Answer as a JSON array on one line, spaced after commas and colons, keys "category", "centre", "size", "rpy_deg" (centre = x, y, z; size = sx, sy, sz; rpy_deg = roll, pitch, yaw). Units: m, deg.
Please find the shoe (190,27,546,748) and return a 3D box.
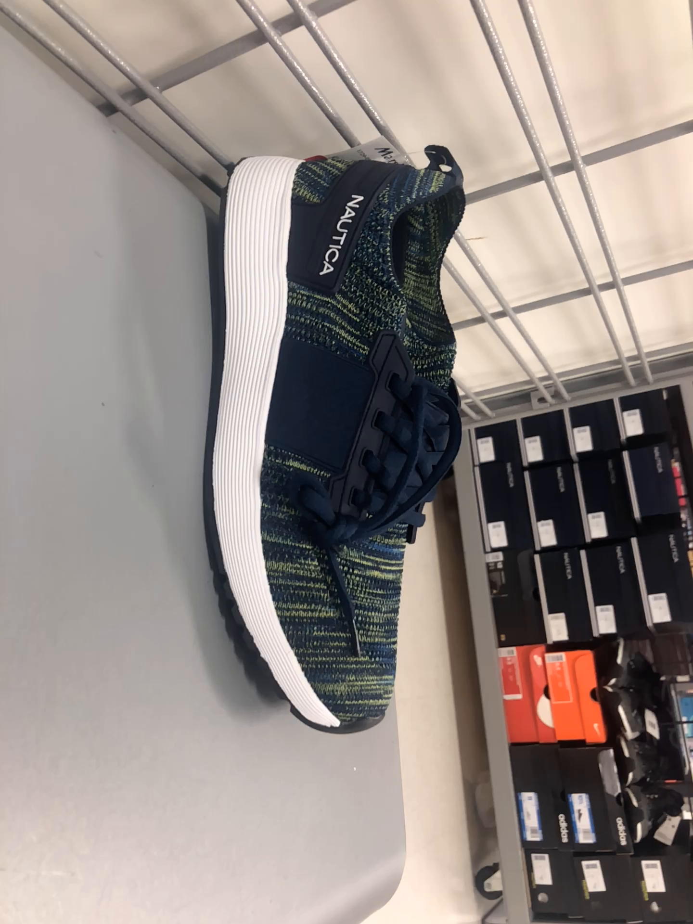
[{"category": "shoe", "centre": [0.009, -0.025, 0.349], "size": [0.113, 0.105, 0.276], "rpy_deg": [26, 57, -63]}]
